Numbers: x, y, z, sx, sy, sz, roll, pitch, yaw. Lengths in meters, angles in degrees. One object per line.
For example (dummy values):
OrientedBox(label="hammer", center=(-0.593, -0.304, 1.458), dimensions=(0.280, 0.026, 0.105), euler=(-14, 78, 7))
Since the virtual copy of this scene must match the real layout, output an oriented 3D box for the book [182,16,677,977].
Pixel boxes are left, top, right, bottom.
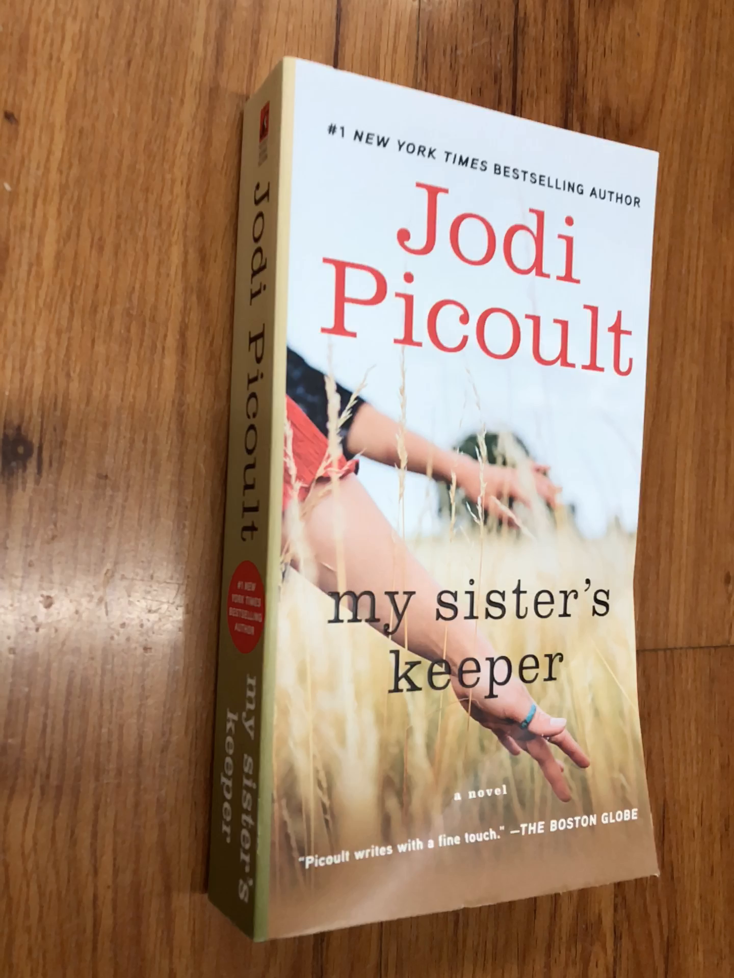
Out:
OrientedBox(label="book", center=(0.019, 0.003, 0.201), dimensions=(0.110, 0.040, 0.190), euler=(4, 86, -25))
